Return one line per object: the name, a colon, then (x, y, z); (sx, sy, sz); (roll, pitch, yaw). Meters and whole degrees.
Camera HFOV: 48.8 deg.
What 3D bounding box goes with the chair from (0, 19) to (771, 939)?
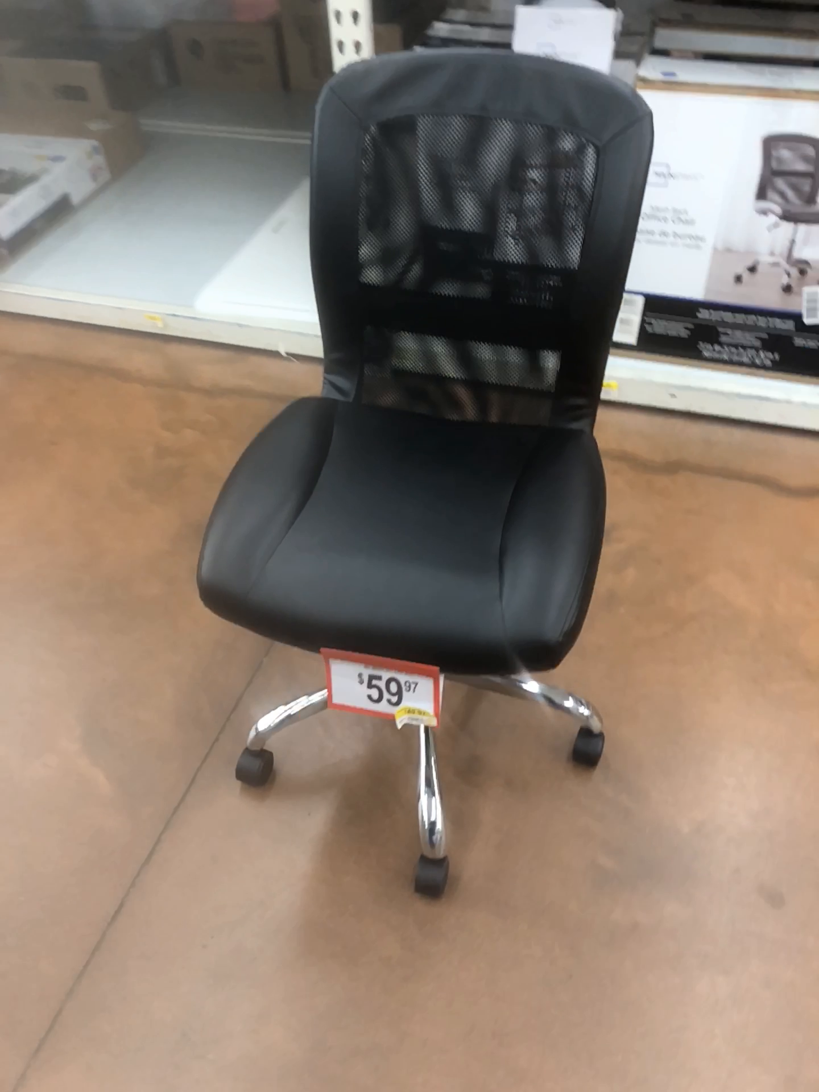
chair: (-0.008, -0.099, 1.116); (0.680, 0.817, 0.652); (10, 44, 14)
